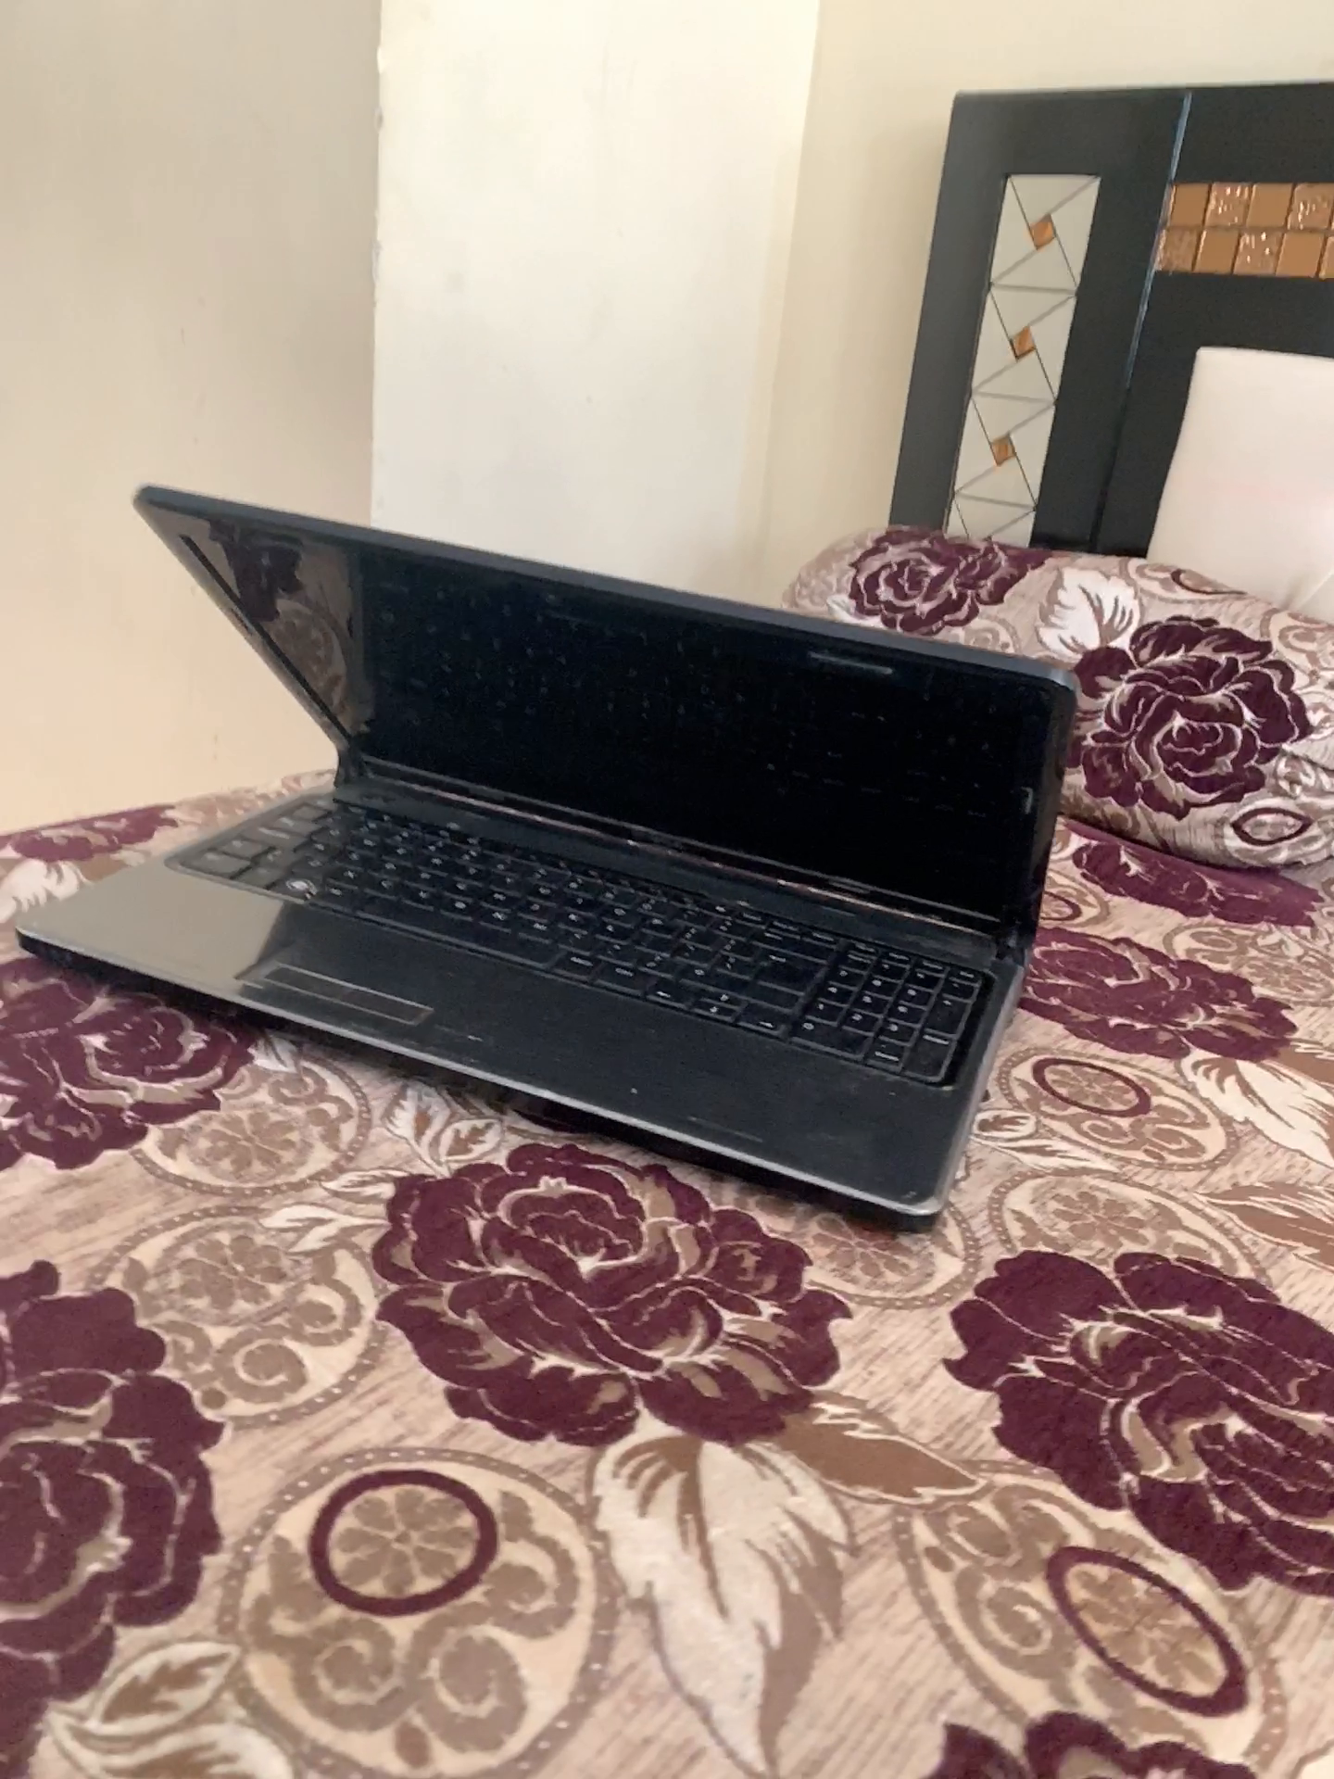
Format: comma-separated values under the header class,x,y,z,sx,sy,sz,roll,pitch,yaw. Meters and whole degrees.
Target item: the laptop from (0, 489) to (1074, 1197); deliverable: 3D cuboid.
class,x,y,z,sx,sy,sz,roll,pitch,yaw
laptop,-0.043,-0.052,0.559,0.363,0.154,0.221,14,23,18
